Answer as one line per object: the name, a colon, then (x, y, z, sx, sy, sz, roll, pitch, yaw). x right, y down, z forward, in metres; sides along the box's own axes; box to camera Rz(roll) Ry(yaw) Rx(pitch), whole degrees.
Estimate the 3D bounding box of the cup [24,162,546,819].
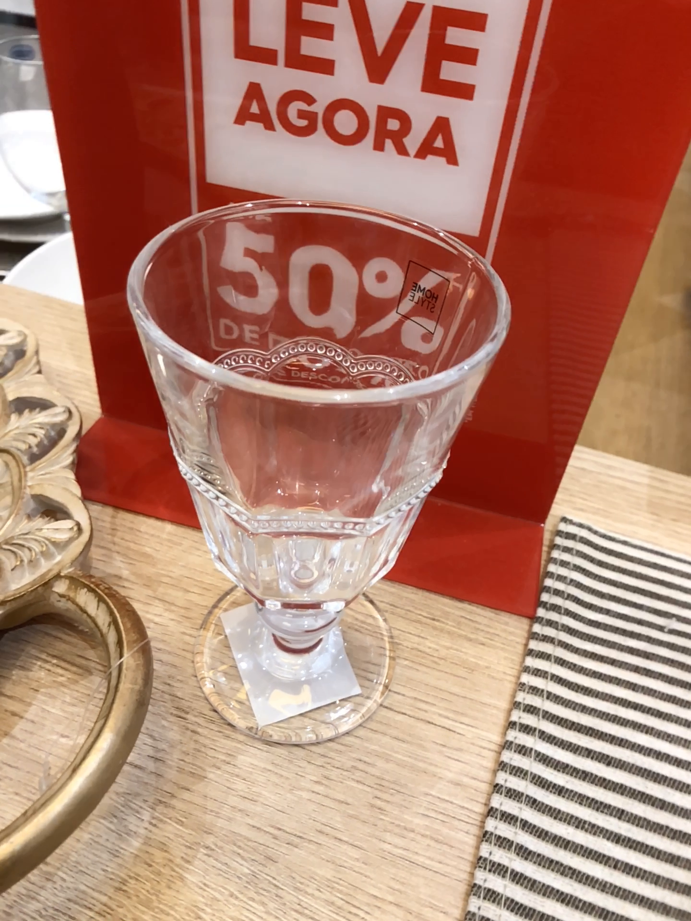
cup: (-0.012, 0.012, 0.206, 0.080, 0.139, 0.081, 3, 42, -3)
